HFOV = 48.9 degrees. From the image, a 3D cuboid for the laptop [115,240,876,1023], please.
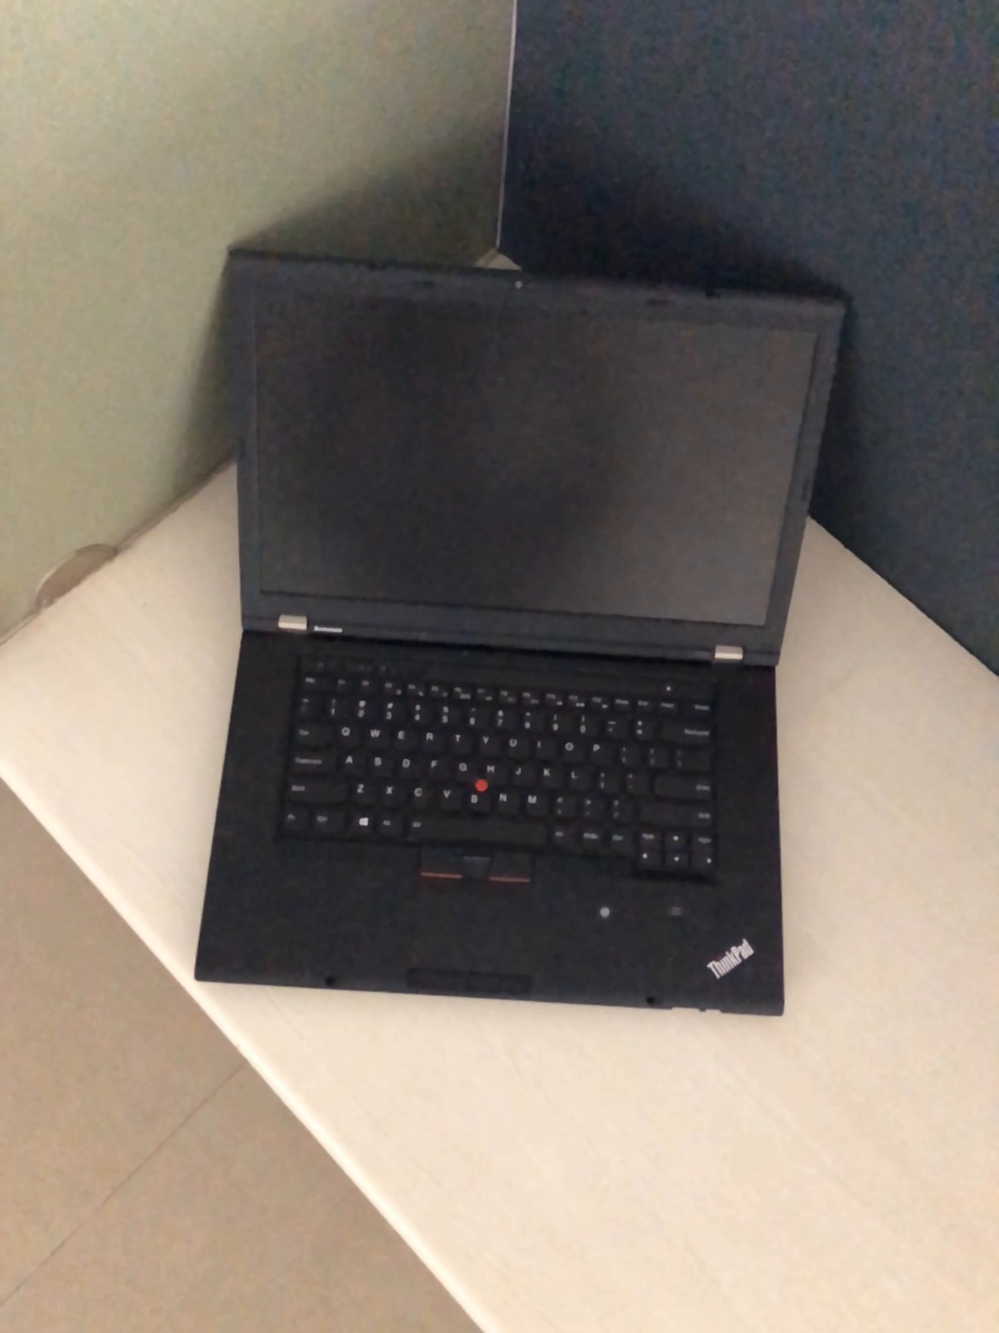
[{"bbox_3d":[0.010,-0.014,0.653,0.355,0.168,0.405,4,71,-1],"label":"laptop"}]
